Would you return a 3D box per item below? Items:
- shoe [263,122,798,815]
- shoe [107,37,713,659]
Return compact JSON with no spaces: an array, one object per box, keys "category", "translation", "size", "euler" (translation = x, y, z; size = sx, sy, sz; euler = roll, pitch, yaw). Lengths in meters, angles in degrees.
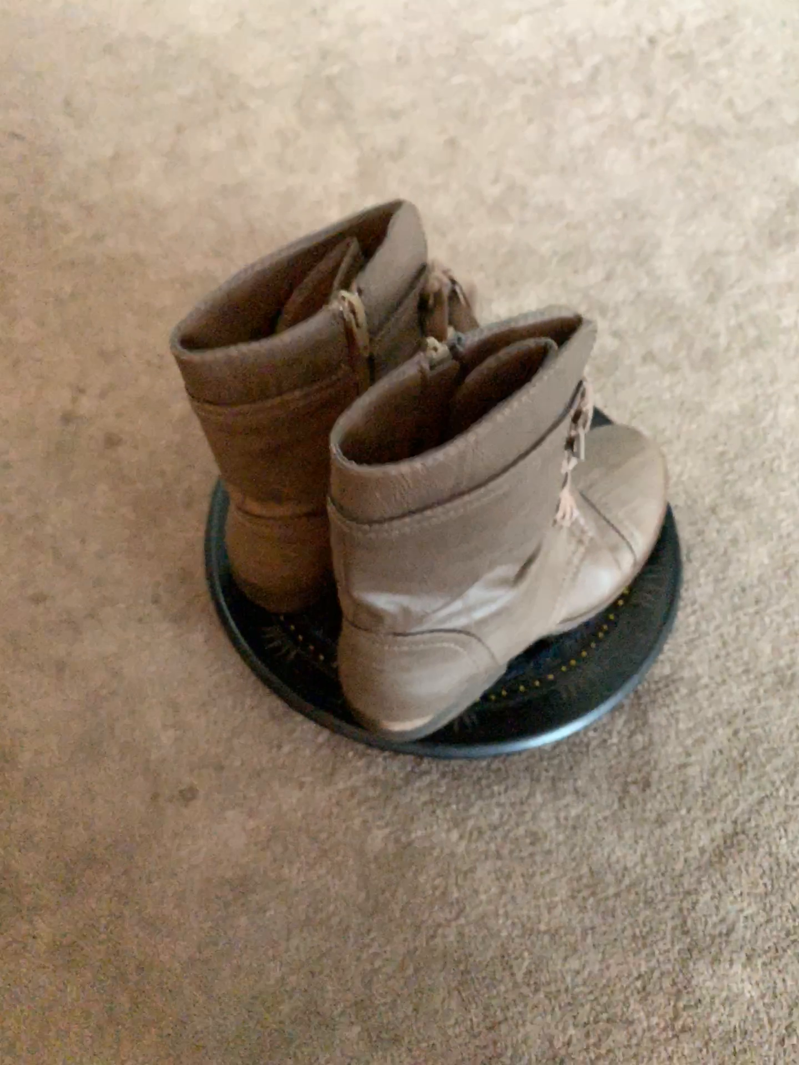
[{"category":"shoe","translation":[0.087,-0.024,0.392],"size":[0.271,0.198,0.100],"euler":[-39,66,-22]},{"category":"shoe","translation":[0.015,-0.091,0.436],"size":[0.261,0.198,0.100],"euler":[-39,66,-22]}]
